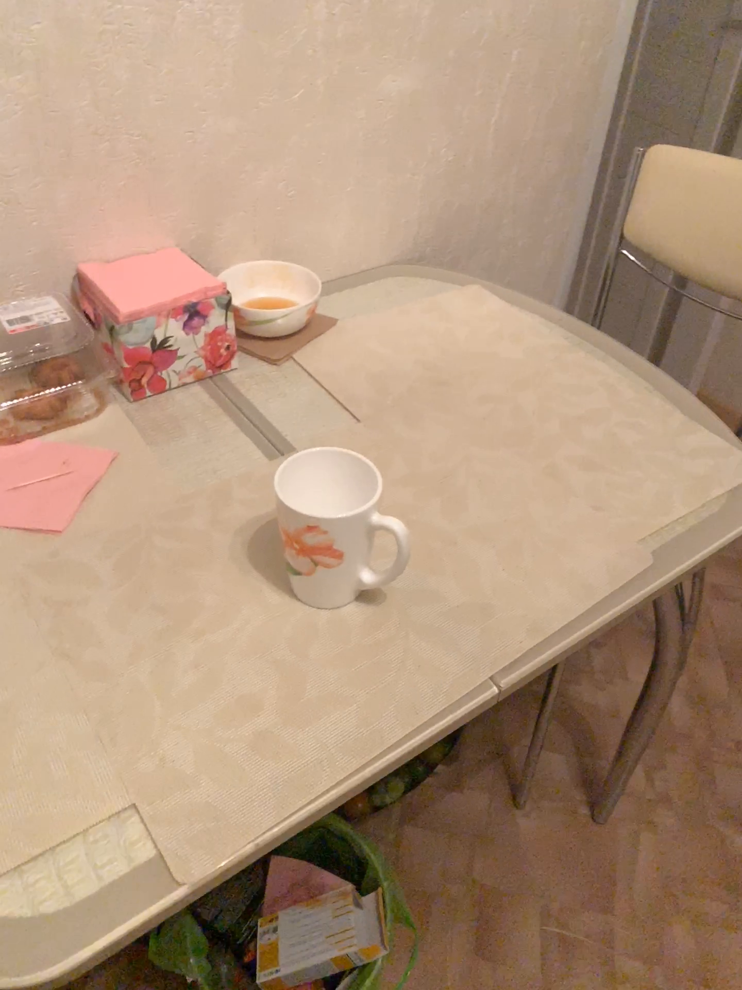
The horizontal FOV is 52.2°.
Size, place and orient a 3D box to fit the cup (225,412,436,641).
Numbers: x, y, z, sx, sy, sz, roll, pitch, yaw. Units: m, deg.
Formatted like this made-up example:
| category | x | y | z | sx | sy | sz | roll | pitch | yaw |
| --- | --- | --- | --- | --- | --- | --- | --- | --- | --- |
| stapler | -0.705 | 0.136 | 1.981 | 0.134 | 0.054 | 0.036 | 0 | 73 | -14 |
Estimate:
| category | x | y | z | sx | sy | sz | roll | pitch | yaw |
| --- | --- | --- | --- | --- | --- | --- | --- | --- | --- |
| cup | -0.030 | 0.021 | 0.572 | 0.120 | 0.099 | 0.091 | 27 | 47 | 25 |
